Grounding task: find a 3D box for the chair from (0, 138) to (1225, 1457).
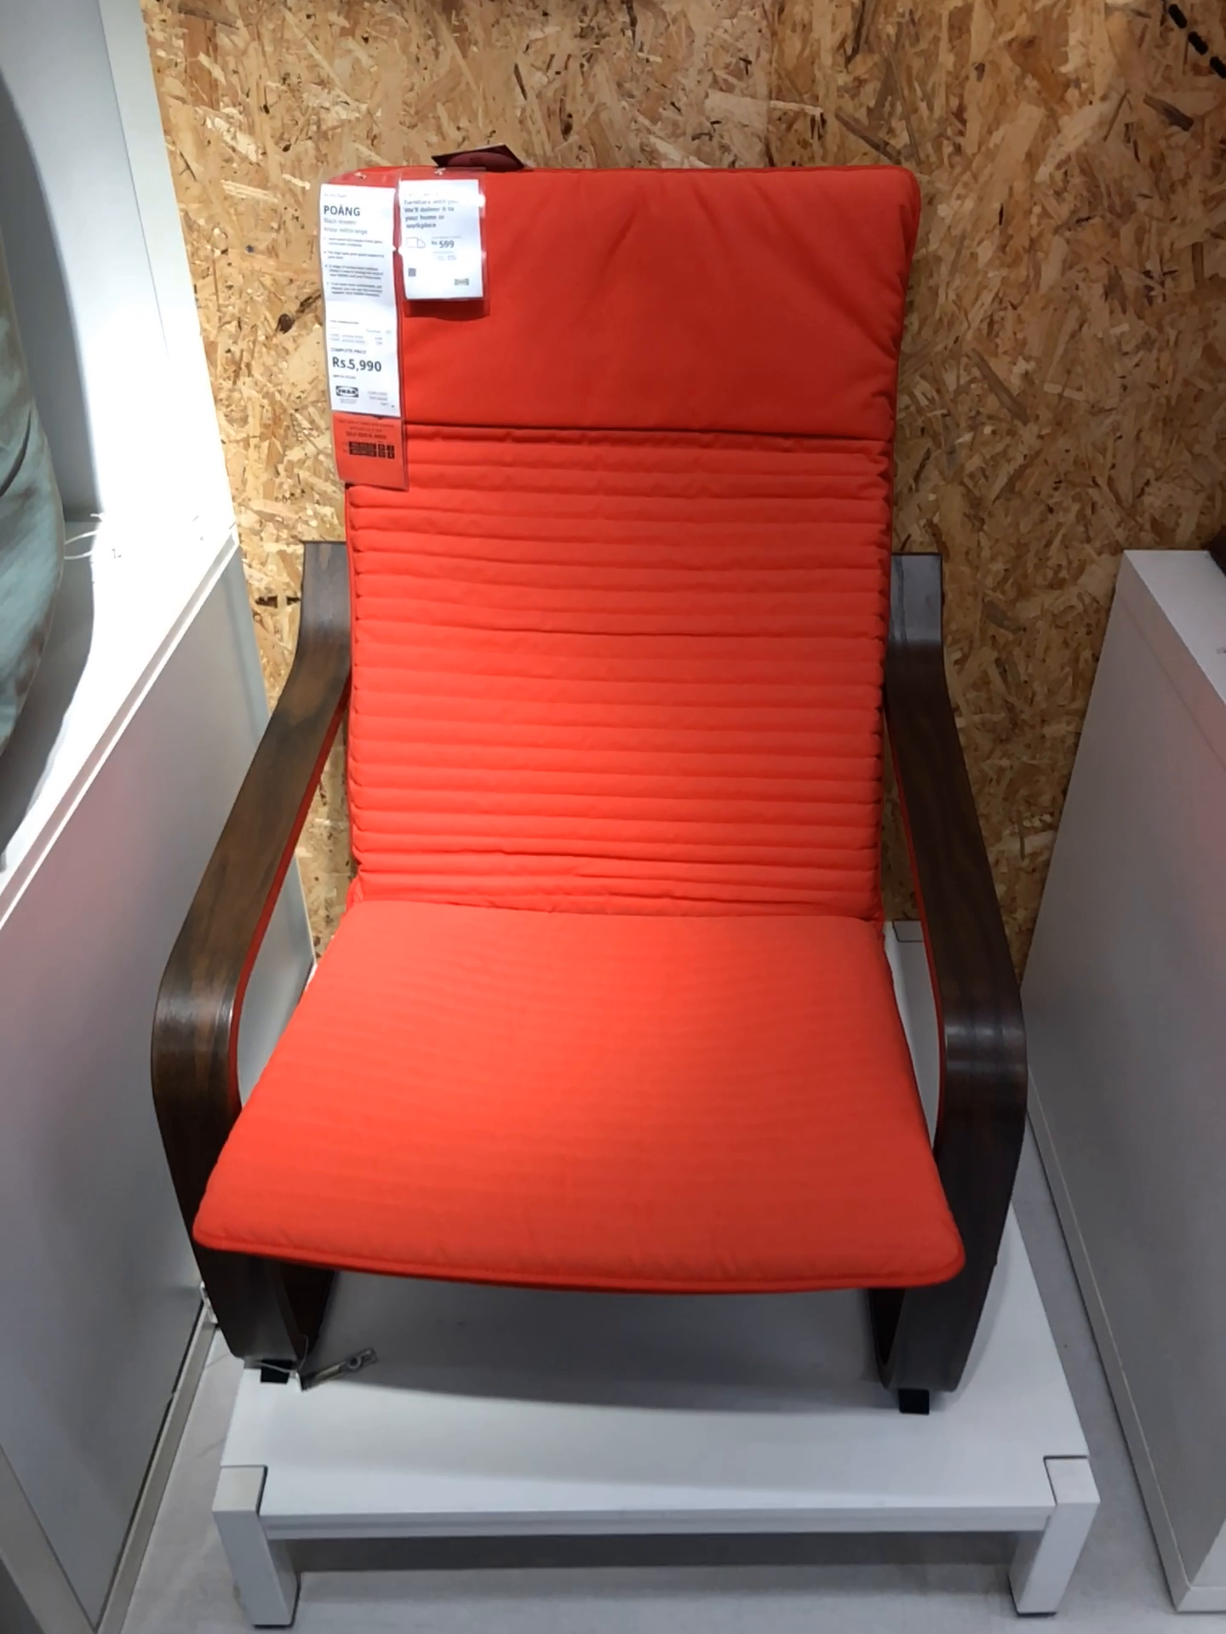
[{"bbox_3d":[-0.014,-0.054,1.228,0.750,0.894,0.795,1,36,2],"label":"chair"}]
